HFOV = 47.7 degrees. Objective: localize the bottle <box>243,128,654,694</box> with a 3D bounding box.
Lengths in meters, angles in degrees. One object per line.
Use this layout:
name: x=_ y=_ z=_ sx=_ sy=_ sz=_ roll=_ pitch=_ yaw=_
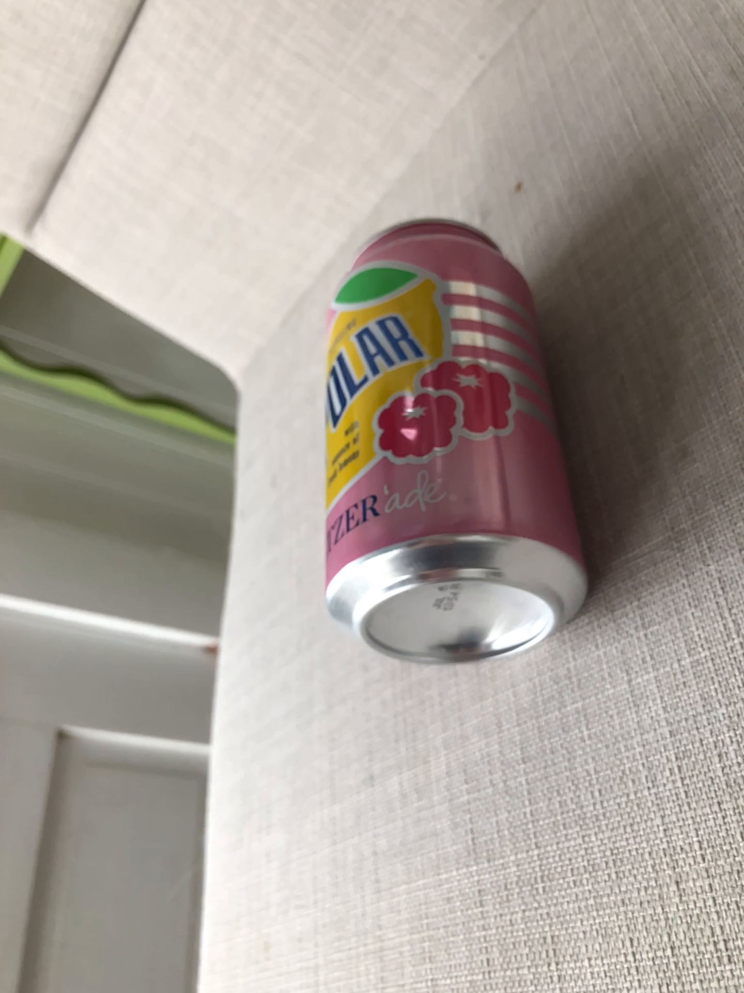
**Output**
bottle: x=0.013 y=-0.022 z=0.230 sx=0.070 sy=0.065 sz=0.123 roll=-39 pitch=42 yaw=41
